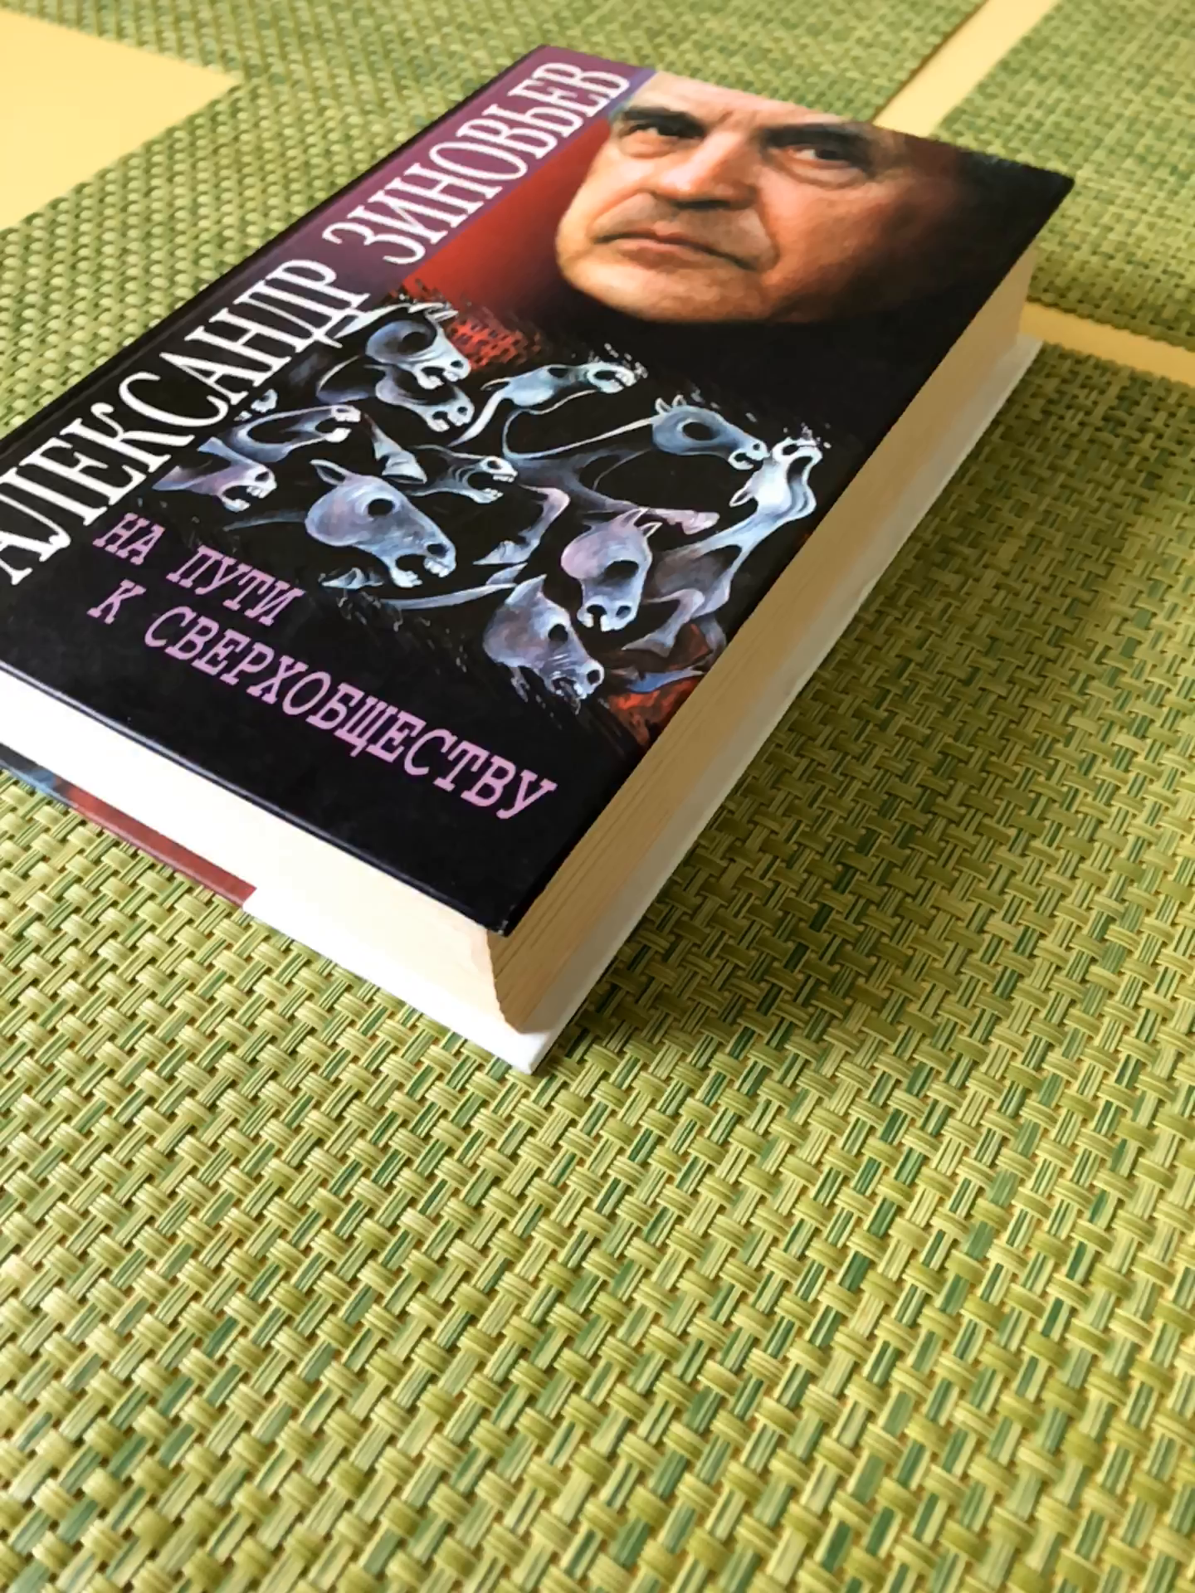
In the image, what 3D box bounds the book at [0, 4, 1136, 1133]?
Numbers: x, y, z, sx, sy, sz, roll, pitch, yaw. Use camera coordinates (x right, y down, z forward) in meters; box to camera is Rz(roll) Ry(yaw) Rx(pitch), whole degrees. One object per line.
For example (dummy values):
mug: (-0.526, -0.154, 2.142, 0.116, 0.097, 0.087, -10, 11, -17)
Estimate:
book: (-0.015, -0.066, 0.240, 0.150, 0.040, 0.201, 26, 58, 19)
